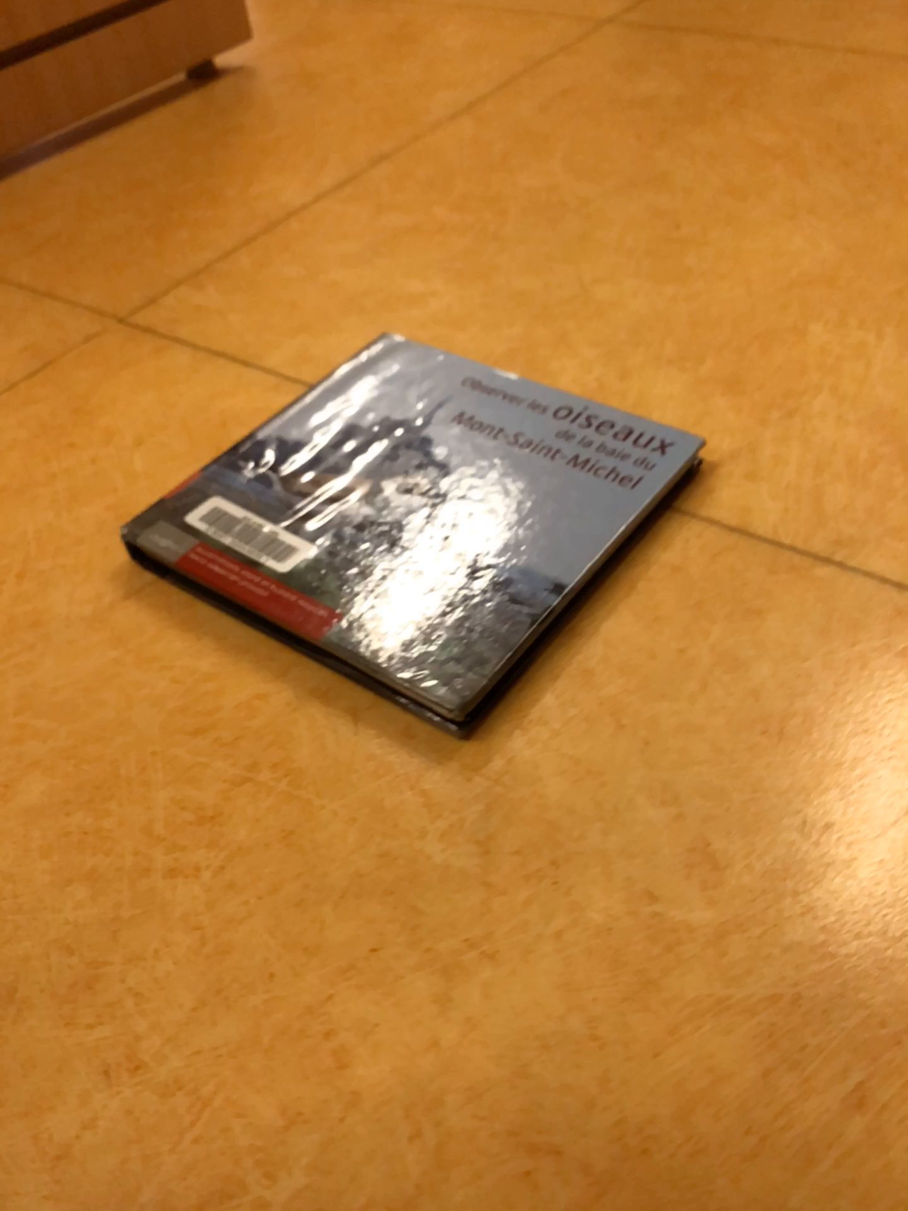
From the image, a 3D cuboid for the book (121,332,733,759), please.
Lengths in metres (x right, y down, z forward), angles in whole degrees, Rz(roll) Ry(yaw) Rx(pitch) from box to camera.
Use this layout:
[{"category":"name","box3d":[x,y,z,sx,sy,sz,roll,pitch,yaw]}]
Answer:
[{"category":"book","box3d":[-0.007,-0.037,0.362,0.153,0.015,0.157,25,52,28]}]
